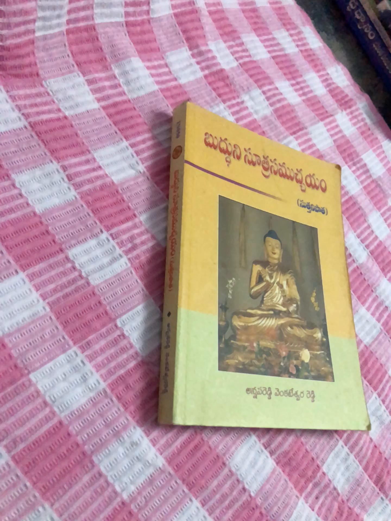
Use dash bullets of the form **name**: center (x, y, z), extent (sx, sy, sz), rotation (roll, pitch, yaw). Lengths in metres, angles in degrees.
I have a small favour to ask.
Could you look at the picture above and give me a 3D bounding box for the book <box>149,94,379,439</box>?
- **book**: center (0.047, 0.007, 0.295), extent (0.151, 0.030, 0.210), rotation (14, 63, -30)
